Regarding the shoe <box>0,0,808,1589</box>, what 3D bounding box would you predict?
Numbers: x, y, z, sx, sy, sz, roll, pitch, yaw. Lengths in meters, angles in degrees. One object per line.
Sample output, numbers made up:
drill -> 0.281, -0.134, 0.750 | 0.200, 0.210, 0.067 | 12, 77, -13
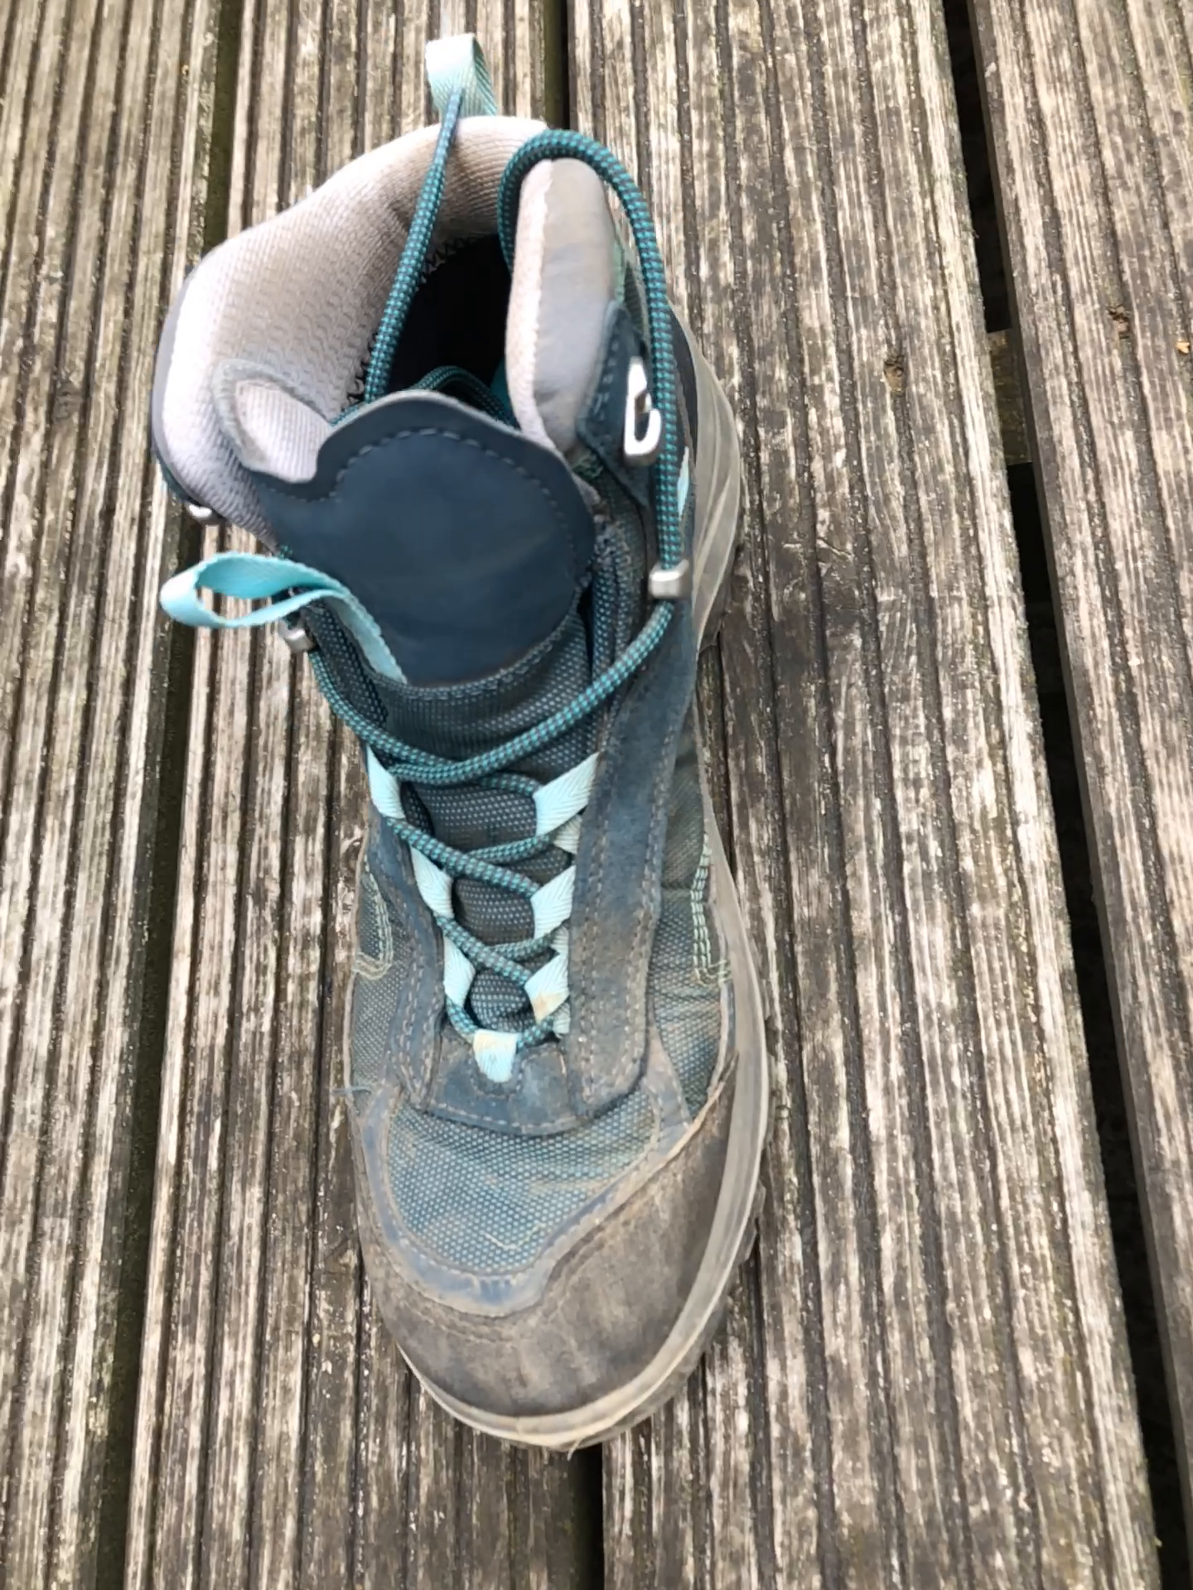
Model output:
shoe -> -0.030, -0.007, 0.281 | 0.120, 0.120, 0.280 | -5, 72, 17
